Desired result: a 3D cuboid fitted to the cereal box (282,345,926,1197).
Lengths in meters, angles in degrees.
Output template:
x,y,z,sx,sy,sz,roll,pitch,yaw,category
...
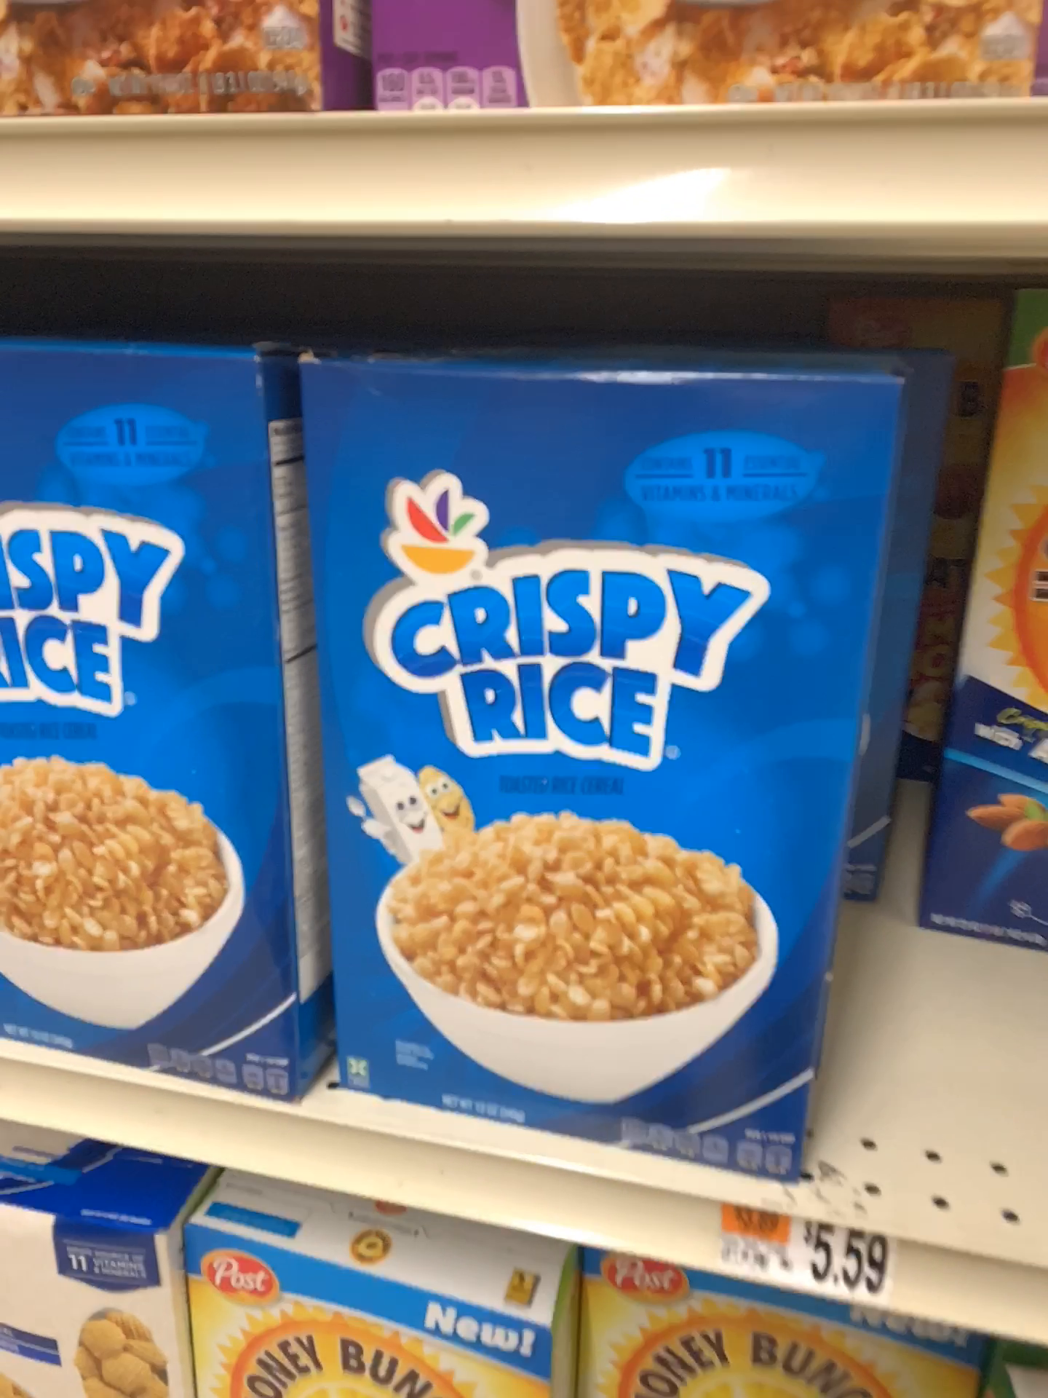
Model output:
x,y,z,sx,sy,sz,roll,pitch,yaw,category
0.024,0.029,0.428,0.210,0.318,0.070,6,21,13,cereal box
